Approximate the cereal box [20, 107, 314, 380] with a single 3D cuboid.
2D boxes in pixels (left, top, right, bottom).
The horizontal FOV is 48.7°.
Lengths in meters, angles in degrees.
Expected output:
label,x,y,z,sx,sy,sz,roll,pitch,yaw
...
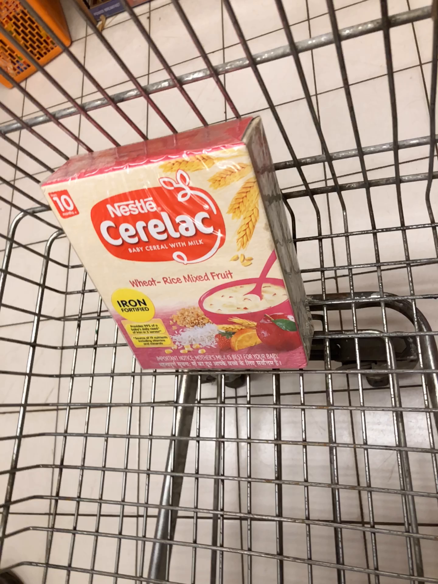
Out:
label,x,y,z,sx,sy,sz,roll,pitch,yaw
cereal box,-0.024,-0.019,0.354,0.150,0.179,0.060,-5,37,21
